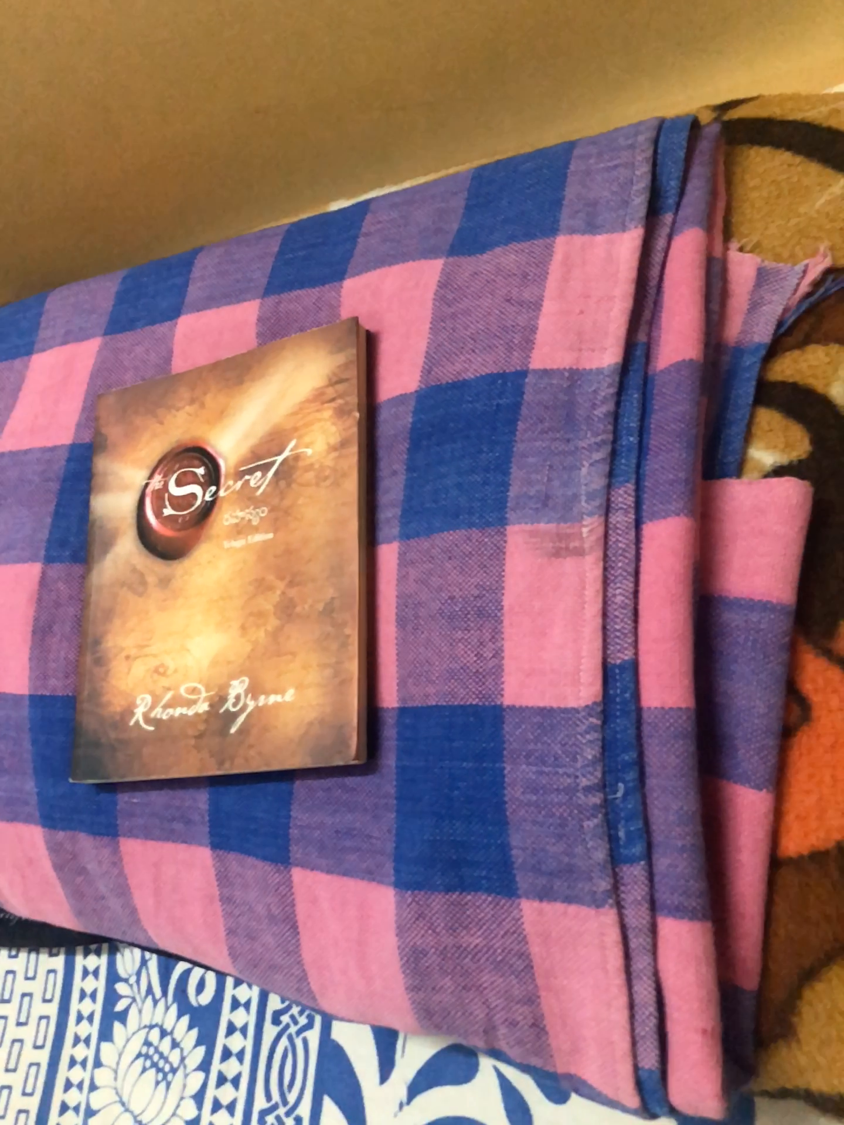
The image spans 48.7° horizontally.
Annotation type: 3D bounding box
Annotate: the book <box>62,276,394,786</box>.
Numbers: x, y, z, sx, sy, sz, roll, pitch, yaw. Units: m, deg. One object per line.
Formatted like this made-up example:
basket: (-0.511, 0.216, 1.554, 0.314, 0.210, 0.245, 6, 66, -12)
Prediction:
book: (-0.080, -0.008, 0.386, 0.150, 0.020, 0.190, -10, 70, 30)
